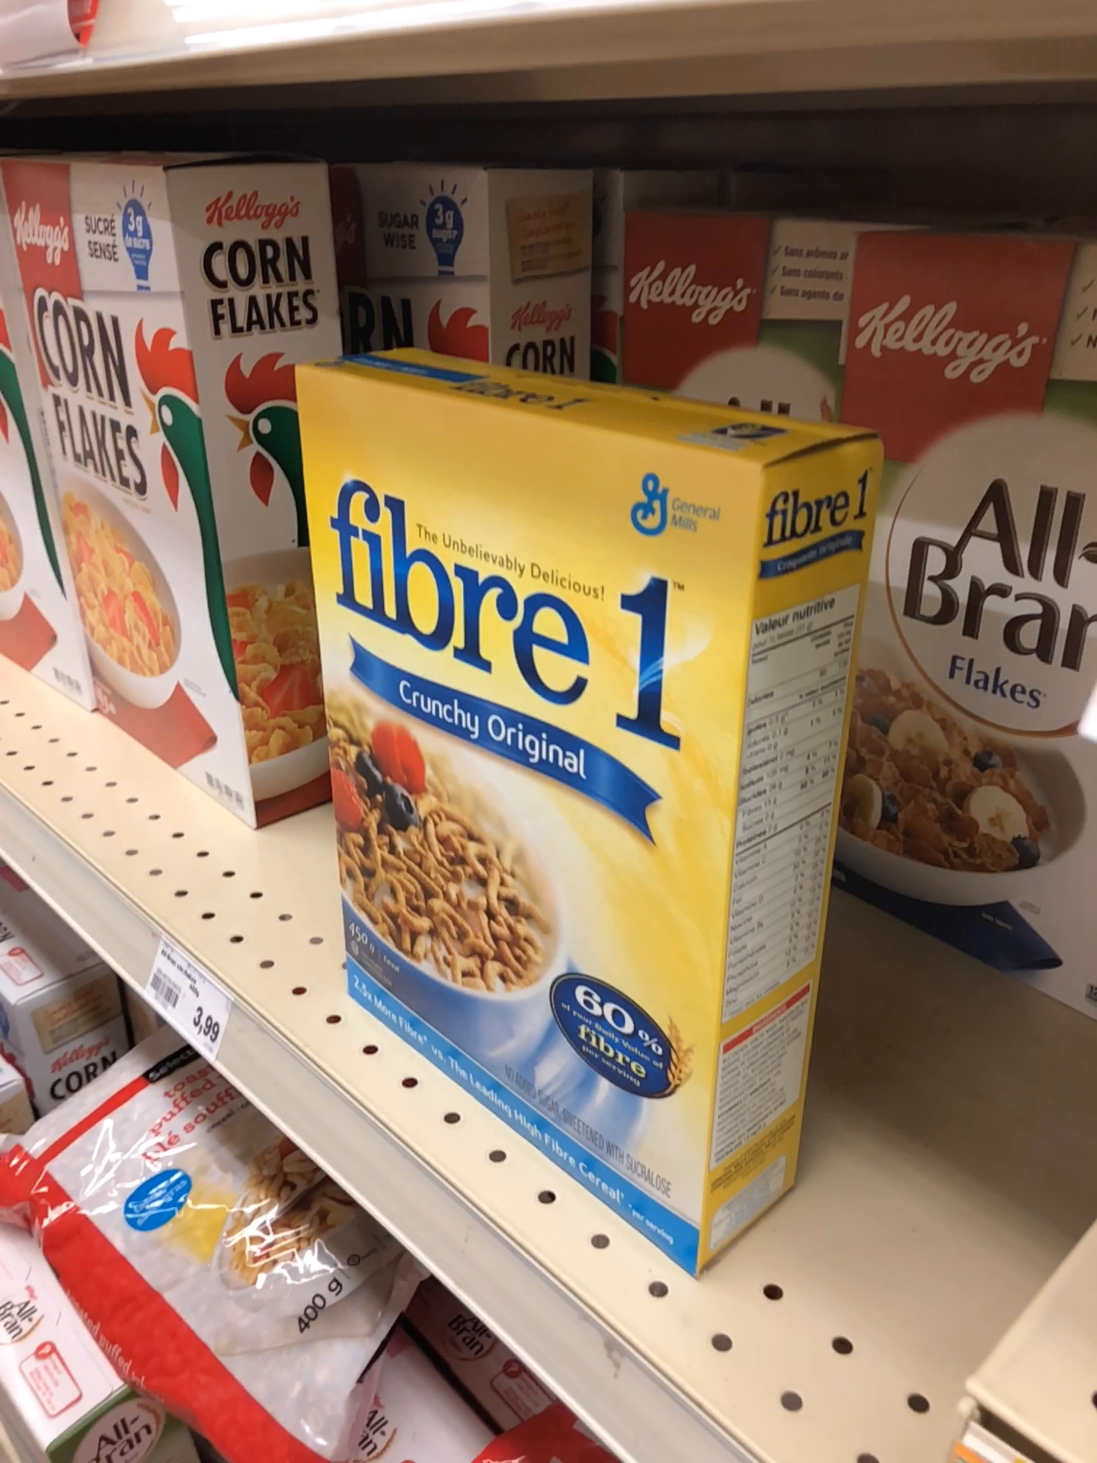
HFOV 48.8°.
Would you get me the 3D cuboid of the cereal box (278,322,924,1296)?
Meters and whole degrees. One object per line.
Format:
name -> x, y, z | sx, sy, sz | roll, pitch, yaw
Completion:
cereal box -> 0.002, 0.014, 0.413 | 0.060, 0.268, 0.211 | -21, 33, -37
